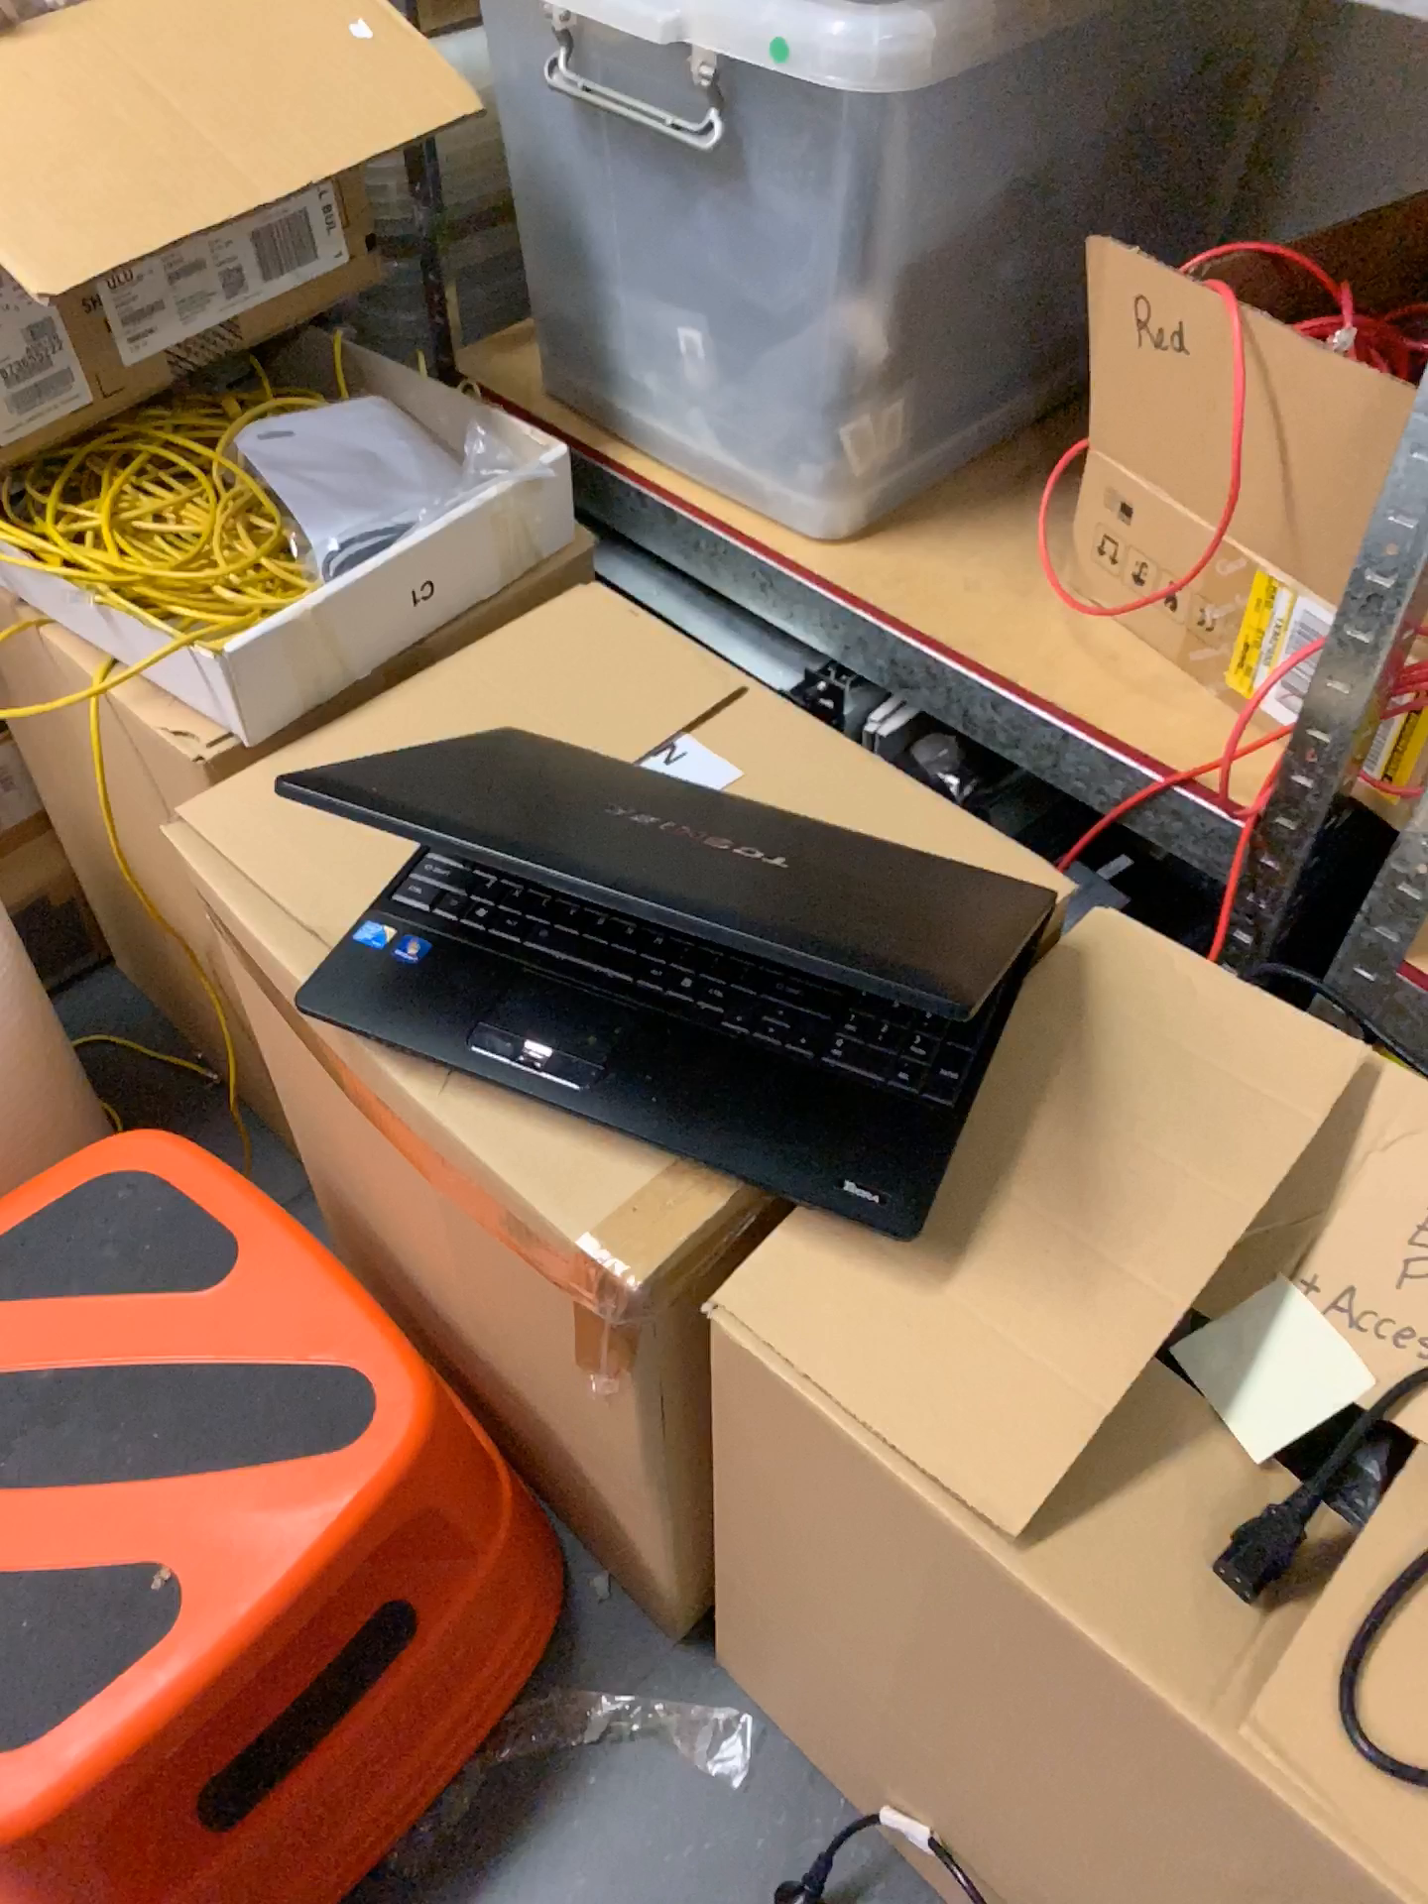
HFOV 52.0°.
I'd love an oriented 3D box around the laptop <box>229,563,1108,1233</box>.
[{"bbox_3d":[-0.016,-0.041,0.770,0.354,0.135,0.232,19,53,14],"label":"laptop"}]
